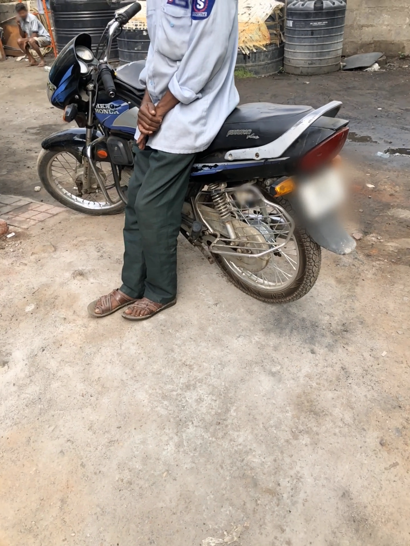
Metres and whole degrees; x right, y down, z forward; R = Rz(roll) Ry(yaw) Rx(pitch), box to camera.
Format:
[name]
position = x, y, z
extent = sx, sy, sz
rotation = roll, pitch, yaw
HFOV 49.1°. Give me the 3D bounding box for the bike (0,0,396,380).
[bike]
position = -0.301, -0.564, 2.046
extent = 1.801, 1.154, 0.788
rotation = 23, 41, 33
